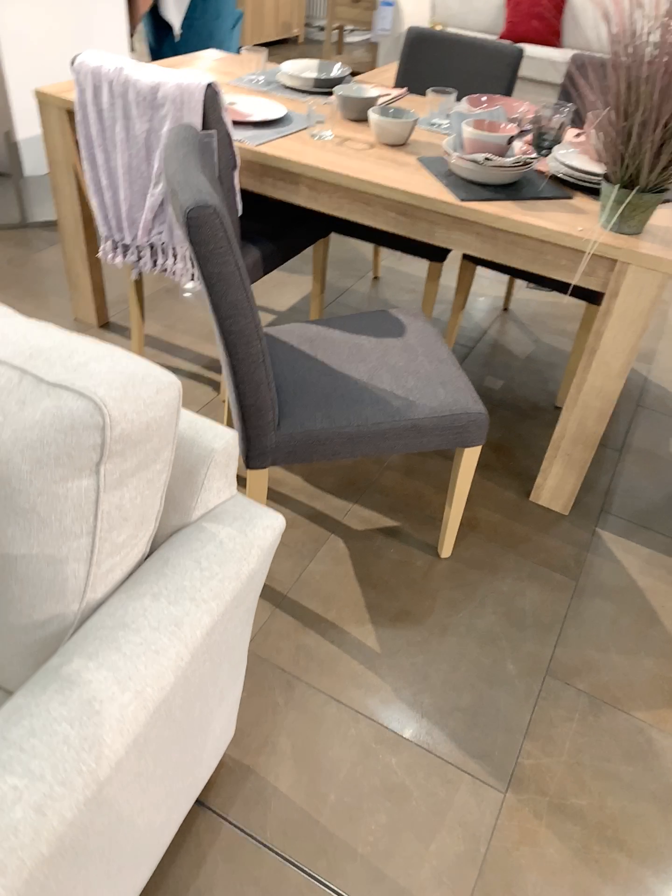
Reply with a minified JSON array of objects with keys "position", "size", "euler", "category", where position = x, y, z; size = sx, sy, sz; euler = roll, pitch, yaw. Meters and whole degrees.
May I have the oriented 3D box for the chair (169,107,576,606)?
[{"position":[-0.011,-0.176,1.480],"size":[0.614,0.889,0.511],"euler":[-4,40,-12],"category":"chair"}]
